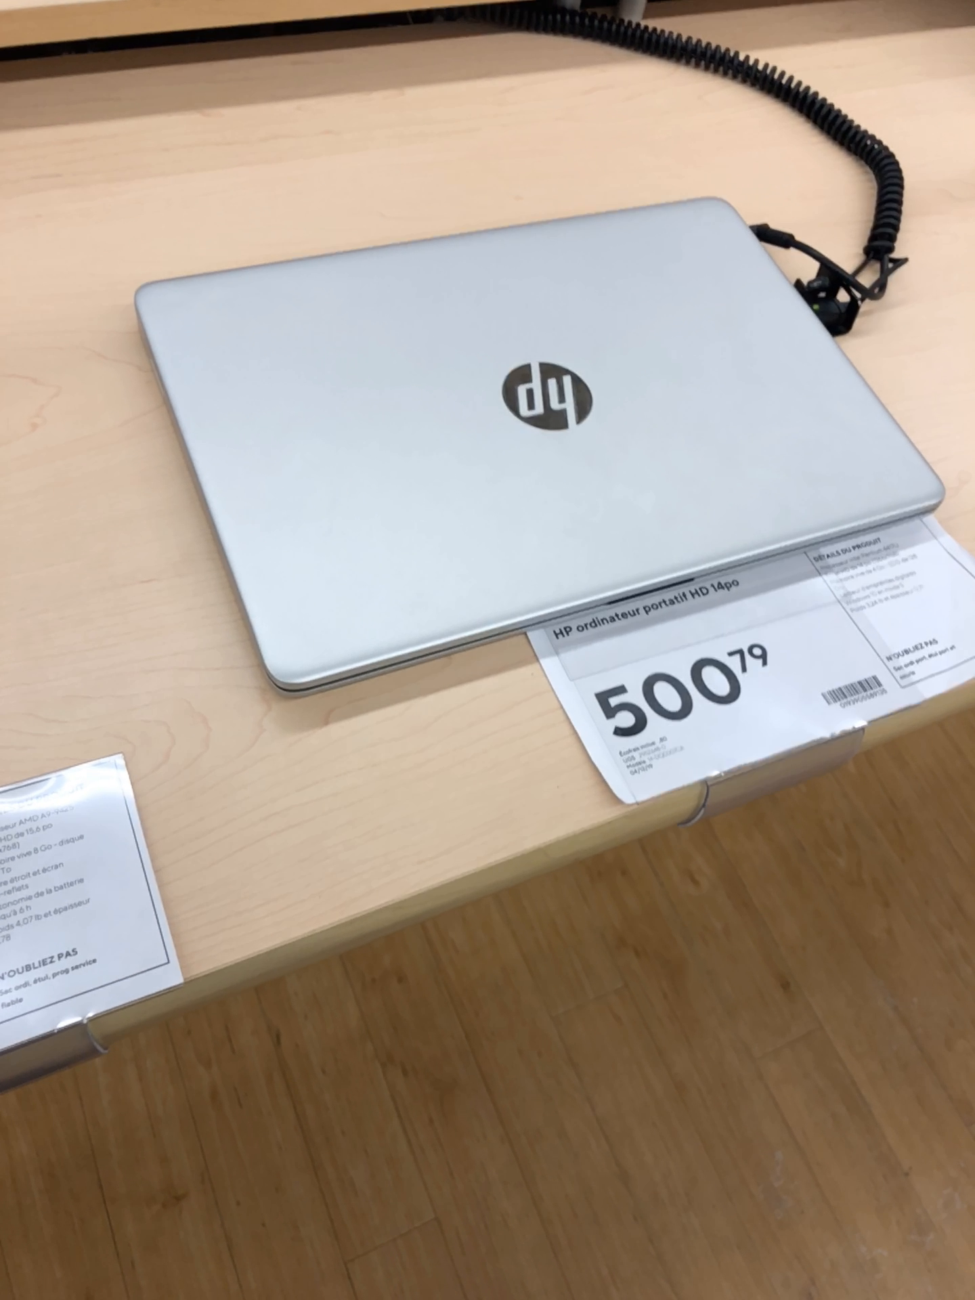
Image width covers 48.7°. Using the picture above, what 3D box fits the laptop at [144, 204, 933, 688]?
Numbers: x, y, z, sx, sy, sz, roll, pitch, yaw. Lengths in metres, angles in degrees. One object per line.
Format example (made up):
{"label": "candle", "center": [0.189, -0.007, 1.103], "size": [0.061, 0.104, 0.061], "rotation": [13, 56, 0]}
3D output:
{"label": "laptop", "center": [0.027, -0.114, 0.486], "size": [0.310, 0.004, 0.205], "rotation": [-17, 63, -21]}
